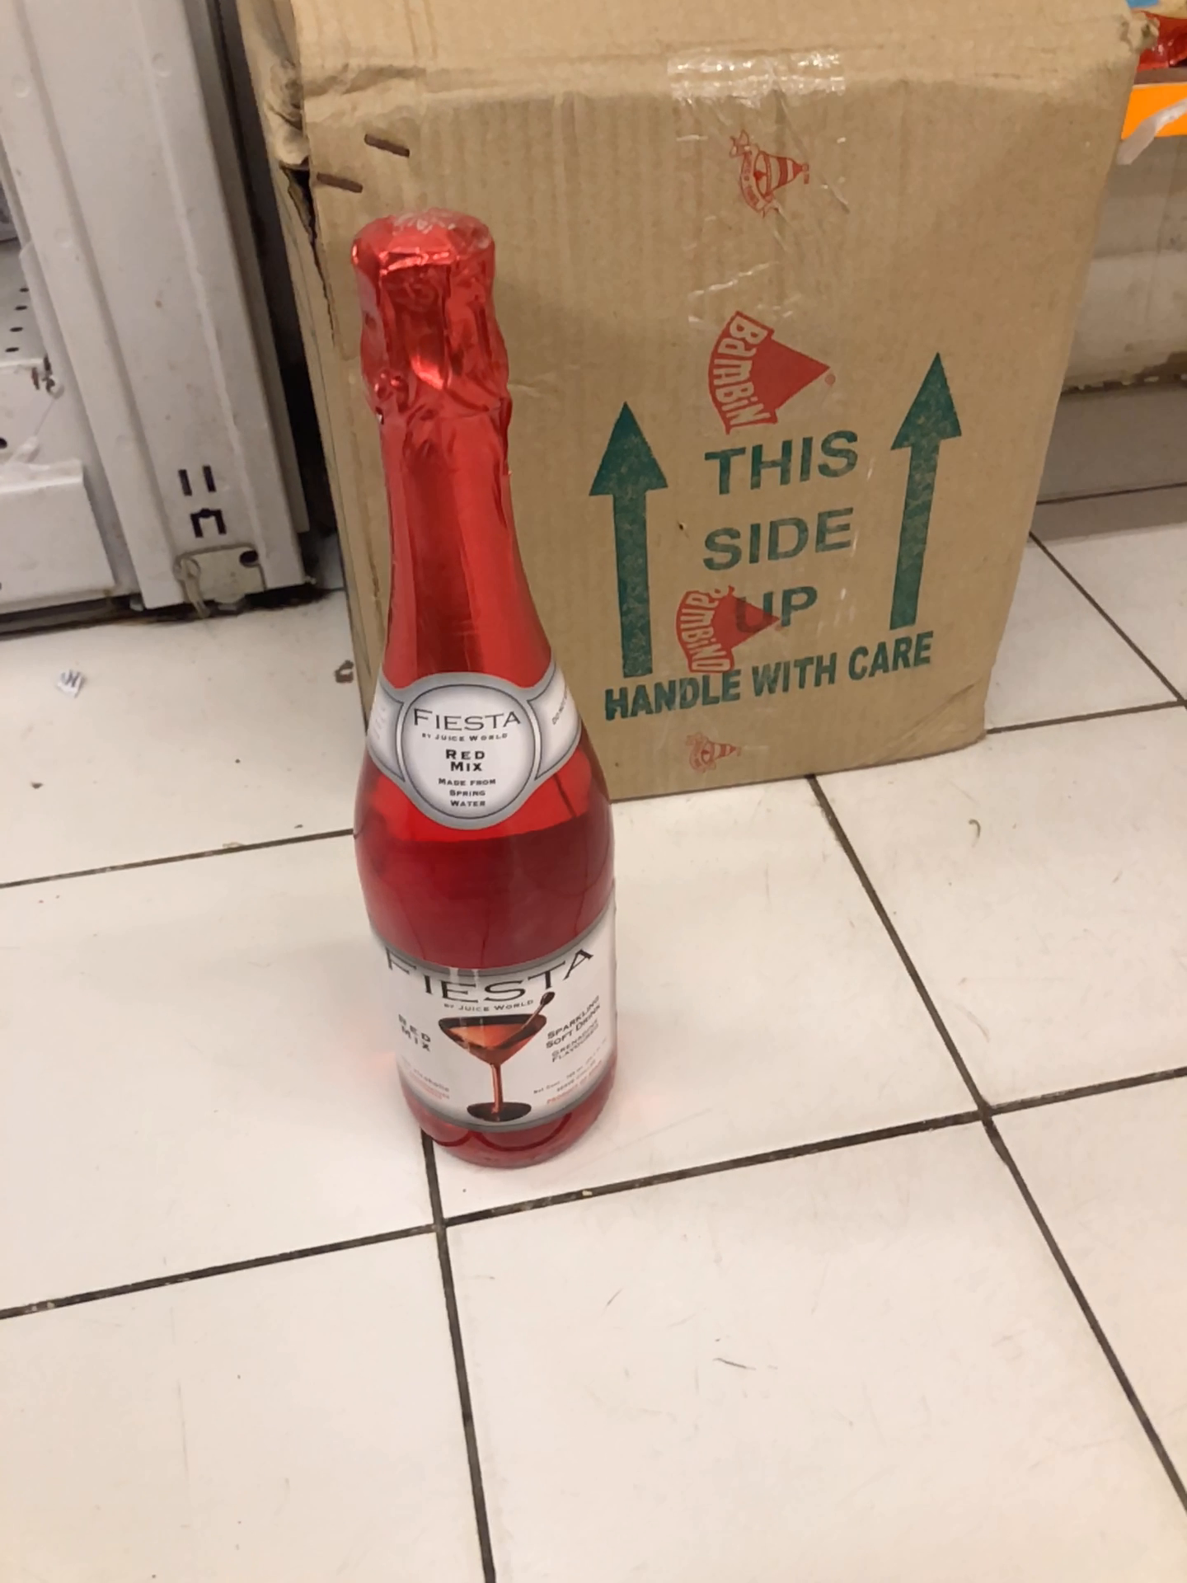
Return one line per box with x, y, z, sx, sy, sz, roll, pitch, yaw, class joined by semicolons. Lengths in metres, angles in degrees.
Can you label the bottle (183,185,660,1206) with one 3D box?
-0.034;-0.002;0.377;0.090;0.298;0.081;-5;41;-4;bottle
